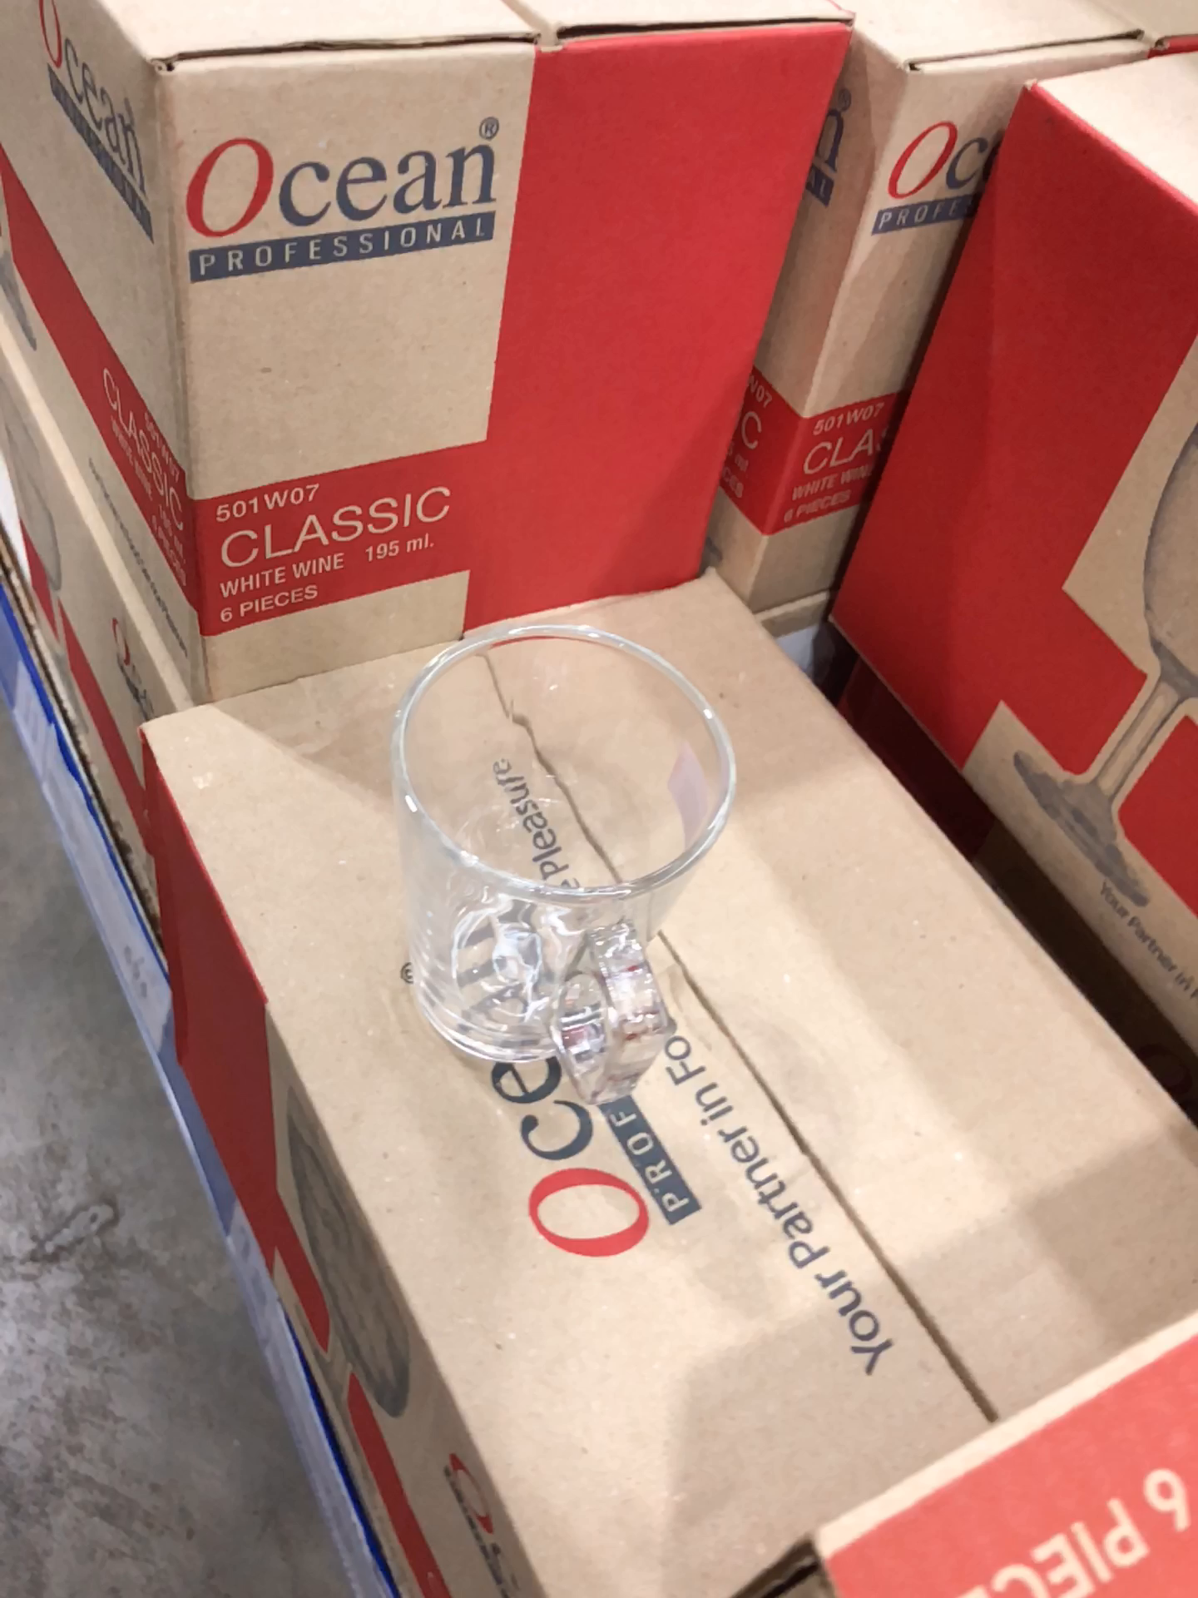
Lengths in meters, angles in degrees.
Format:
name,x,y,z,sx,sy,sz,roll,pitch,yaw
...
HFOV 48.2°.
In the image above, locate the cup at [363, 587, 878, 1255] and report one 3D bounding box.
name,x,y,z,sx,sy,sz,roll,pitch,yaw
cup,-0.005,0.025,0.250,0.060,0.100,0.070,-11,54,-19
